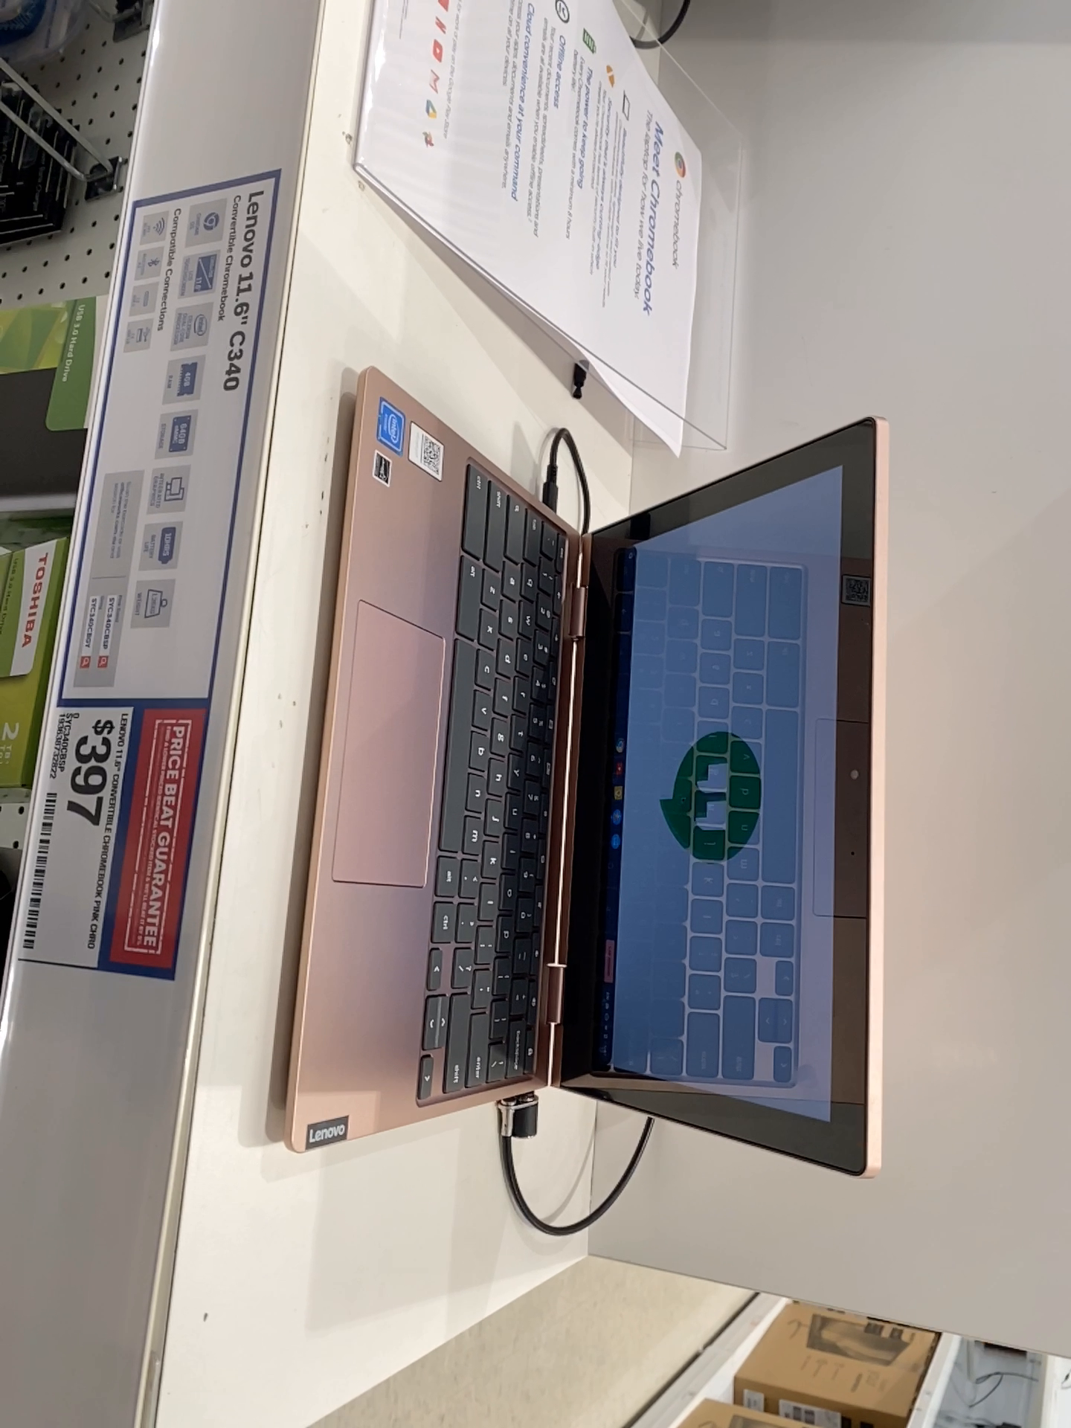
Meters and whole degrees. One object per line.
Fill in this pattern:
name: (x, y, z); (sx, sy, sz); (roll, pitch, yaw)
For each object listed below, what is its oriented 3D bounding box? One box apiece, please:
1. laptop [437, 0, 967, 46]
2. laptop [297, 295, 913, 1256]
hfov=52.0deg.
laptop: (0.113, -0.605, 0.577); (0.266, 0.192, 0.310); (23, 69, -62)
laptop: (0.048, 0.029, 0.441); (0.197, 0.168, 0.280); (22, 70, -62)
